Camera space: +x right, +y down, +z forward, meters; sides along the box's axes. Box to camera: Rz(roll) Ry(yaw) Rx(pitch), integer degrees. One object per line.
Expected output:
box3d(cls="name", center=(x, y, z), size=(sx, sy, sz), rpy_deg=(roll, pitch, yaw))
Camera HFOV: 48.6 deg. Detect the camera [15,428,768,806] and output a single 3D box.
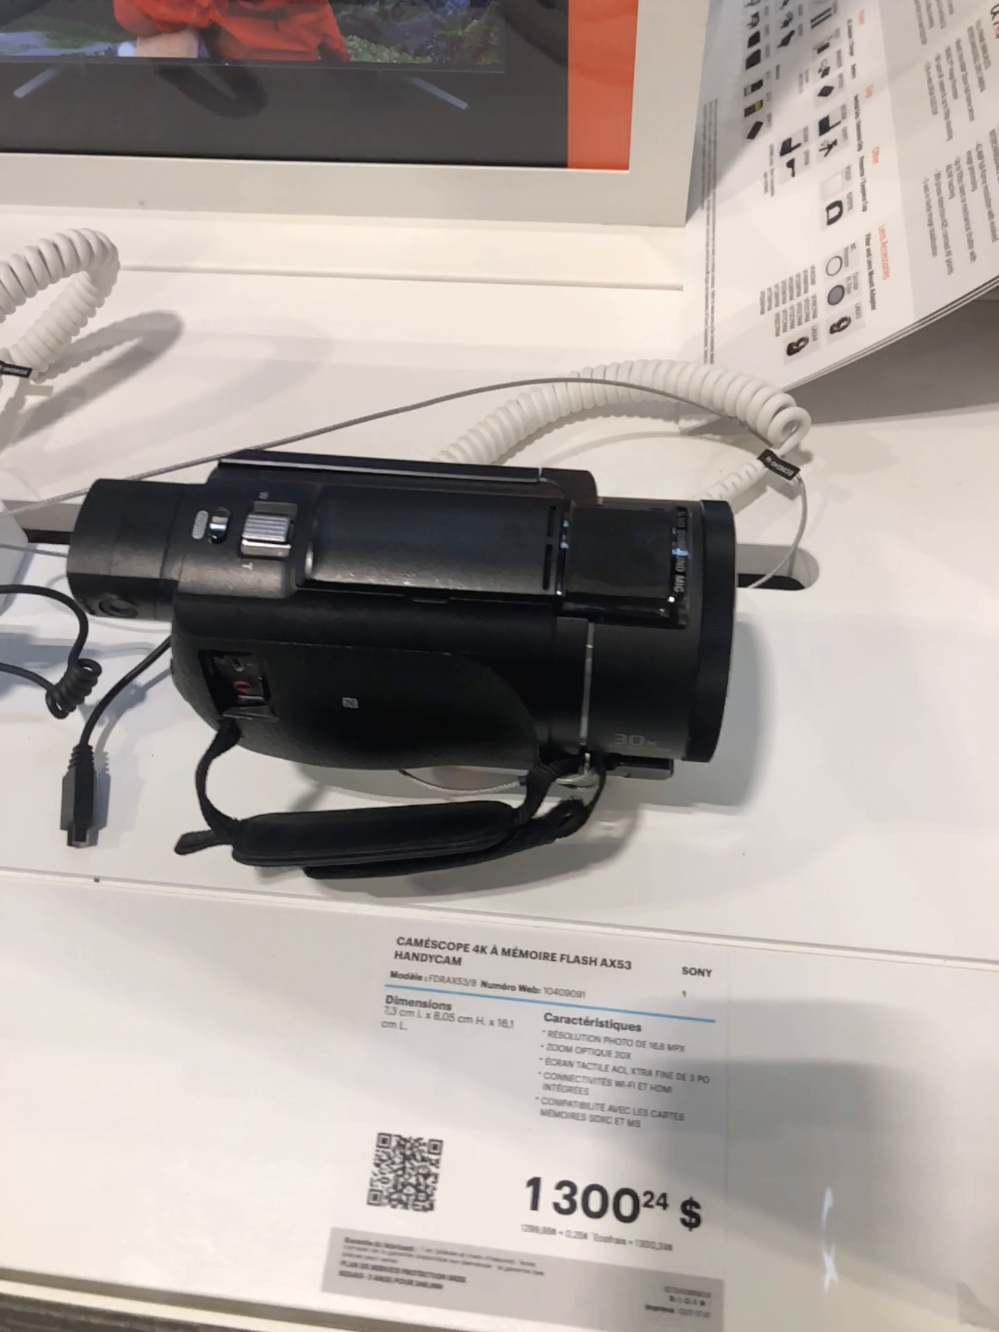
box3d(cls="camera", center=(-0.022, -0.012, 0.287), size=(0.168, 0.066, 0.061), rpy_deg=(4, 58, 6))
